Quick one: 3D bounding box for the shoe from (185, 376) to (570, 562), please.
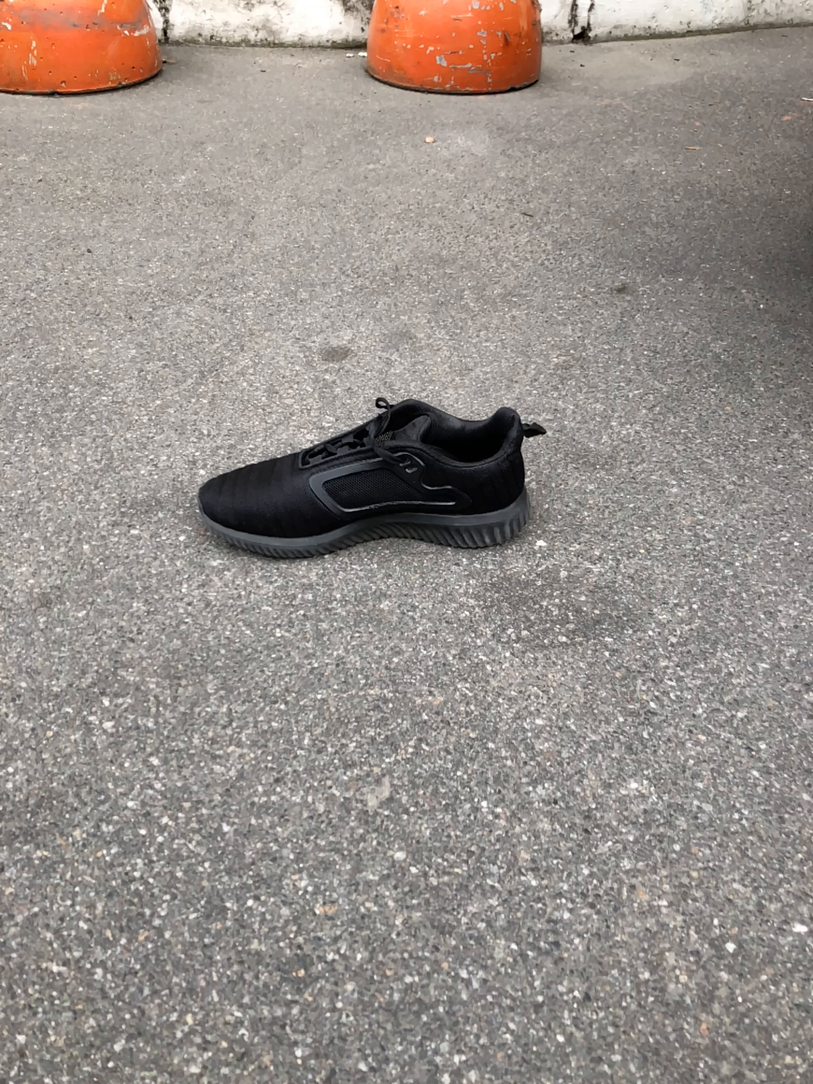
[{"bbox_3d":[-0.024,-0.059,0.719,0.280,0.109,0.101,0,40,-4],"label":"shoe"}]
